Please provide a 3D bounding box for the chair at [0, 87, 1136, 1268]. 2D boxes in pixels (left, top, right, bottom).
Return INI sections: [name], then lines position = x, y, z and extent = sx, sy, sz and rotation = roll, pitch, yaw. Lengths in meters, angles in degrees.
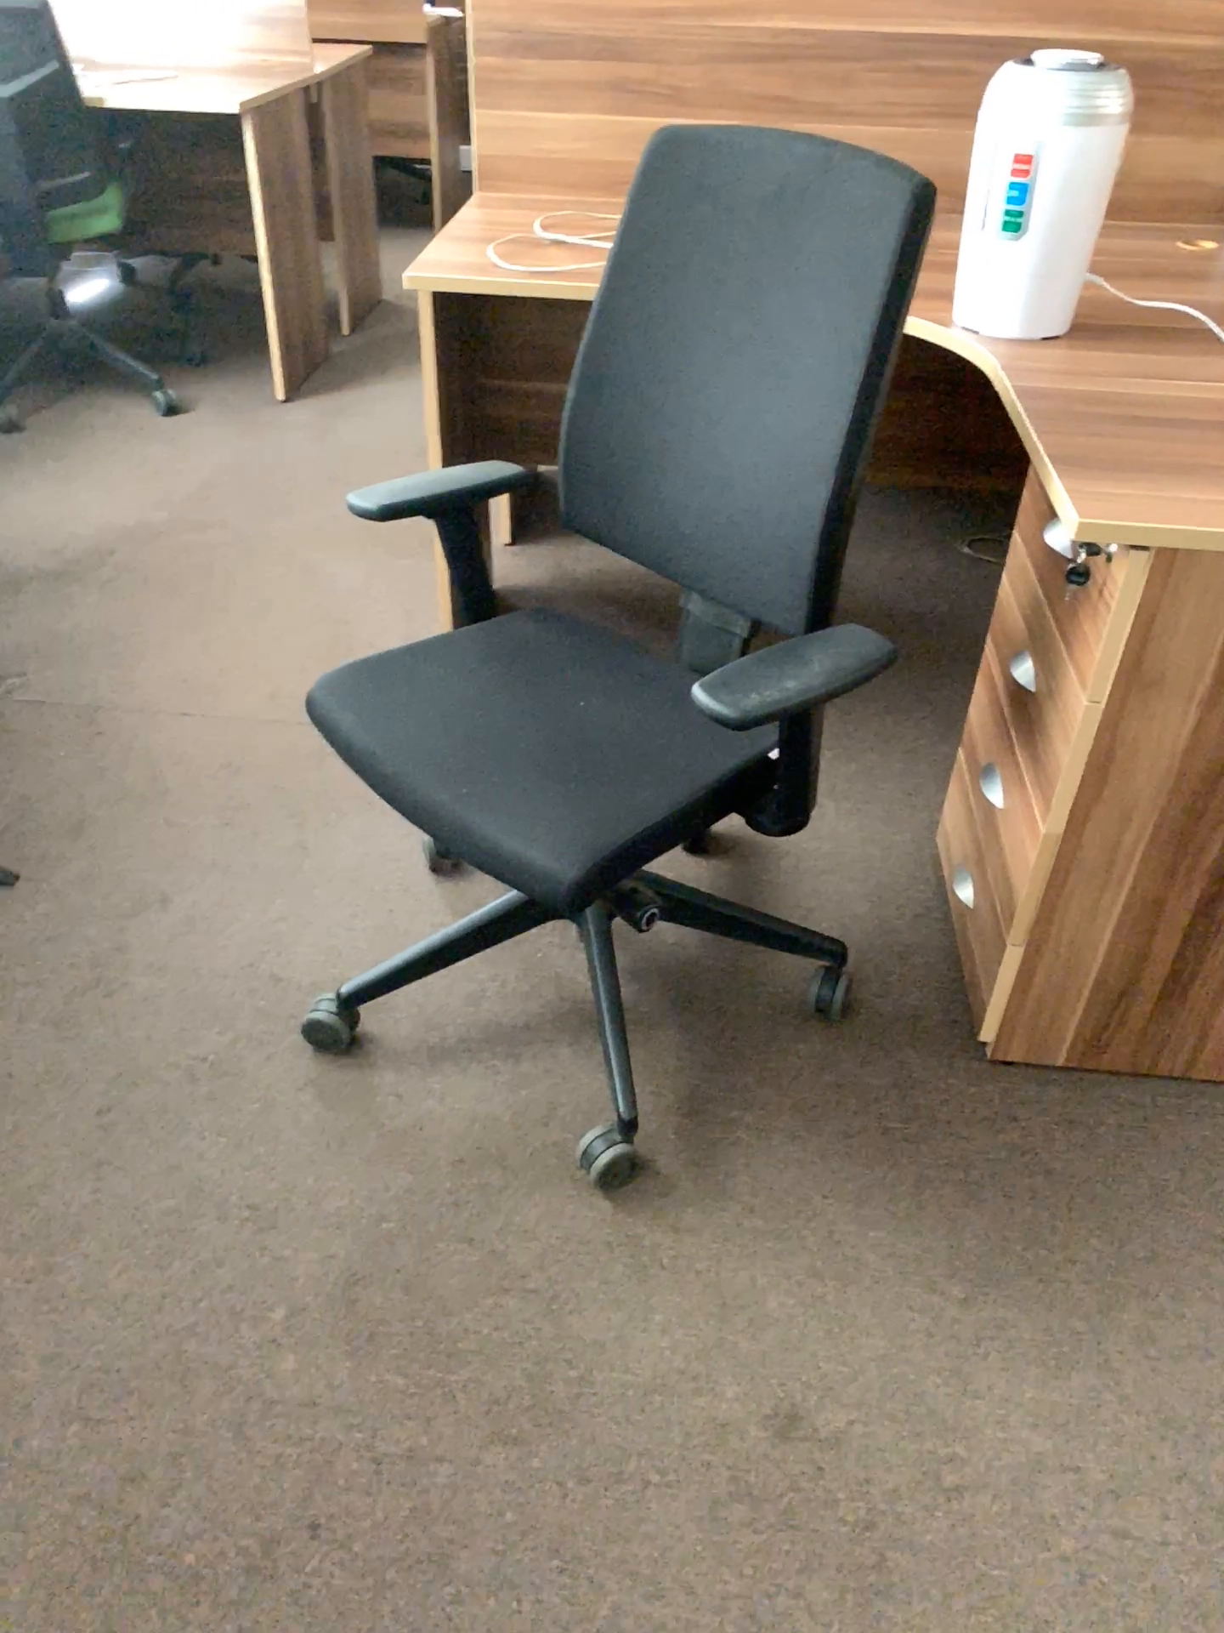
[chair]
position = -0.045, -0.222, 1.392
extent = 0.792, 0.915, 0.672
rotation = -29, 46, -34
